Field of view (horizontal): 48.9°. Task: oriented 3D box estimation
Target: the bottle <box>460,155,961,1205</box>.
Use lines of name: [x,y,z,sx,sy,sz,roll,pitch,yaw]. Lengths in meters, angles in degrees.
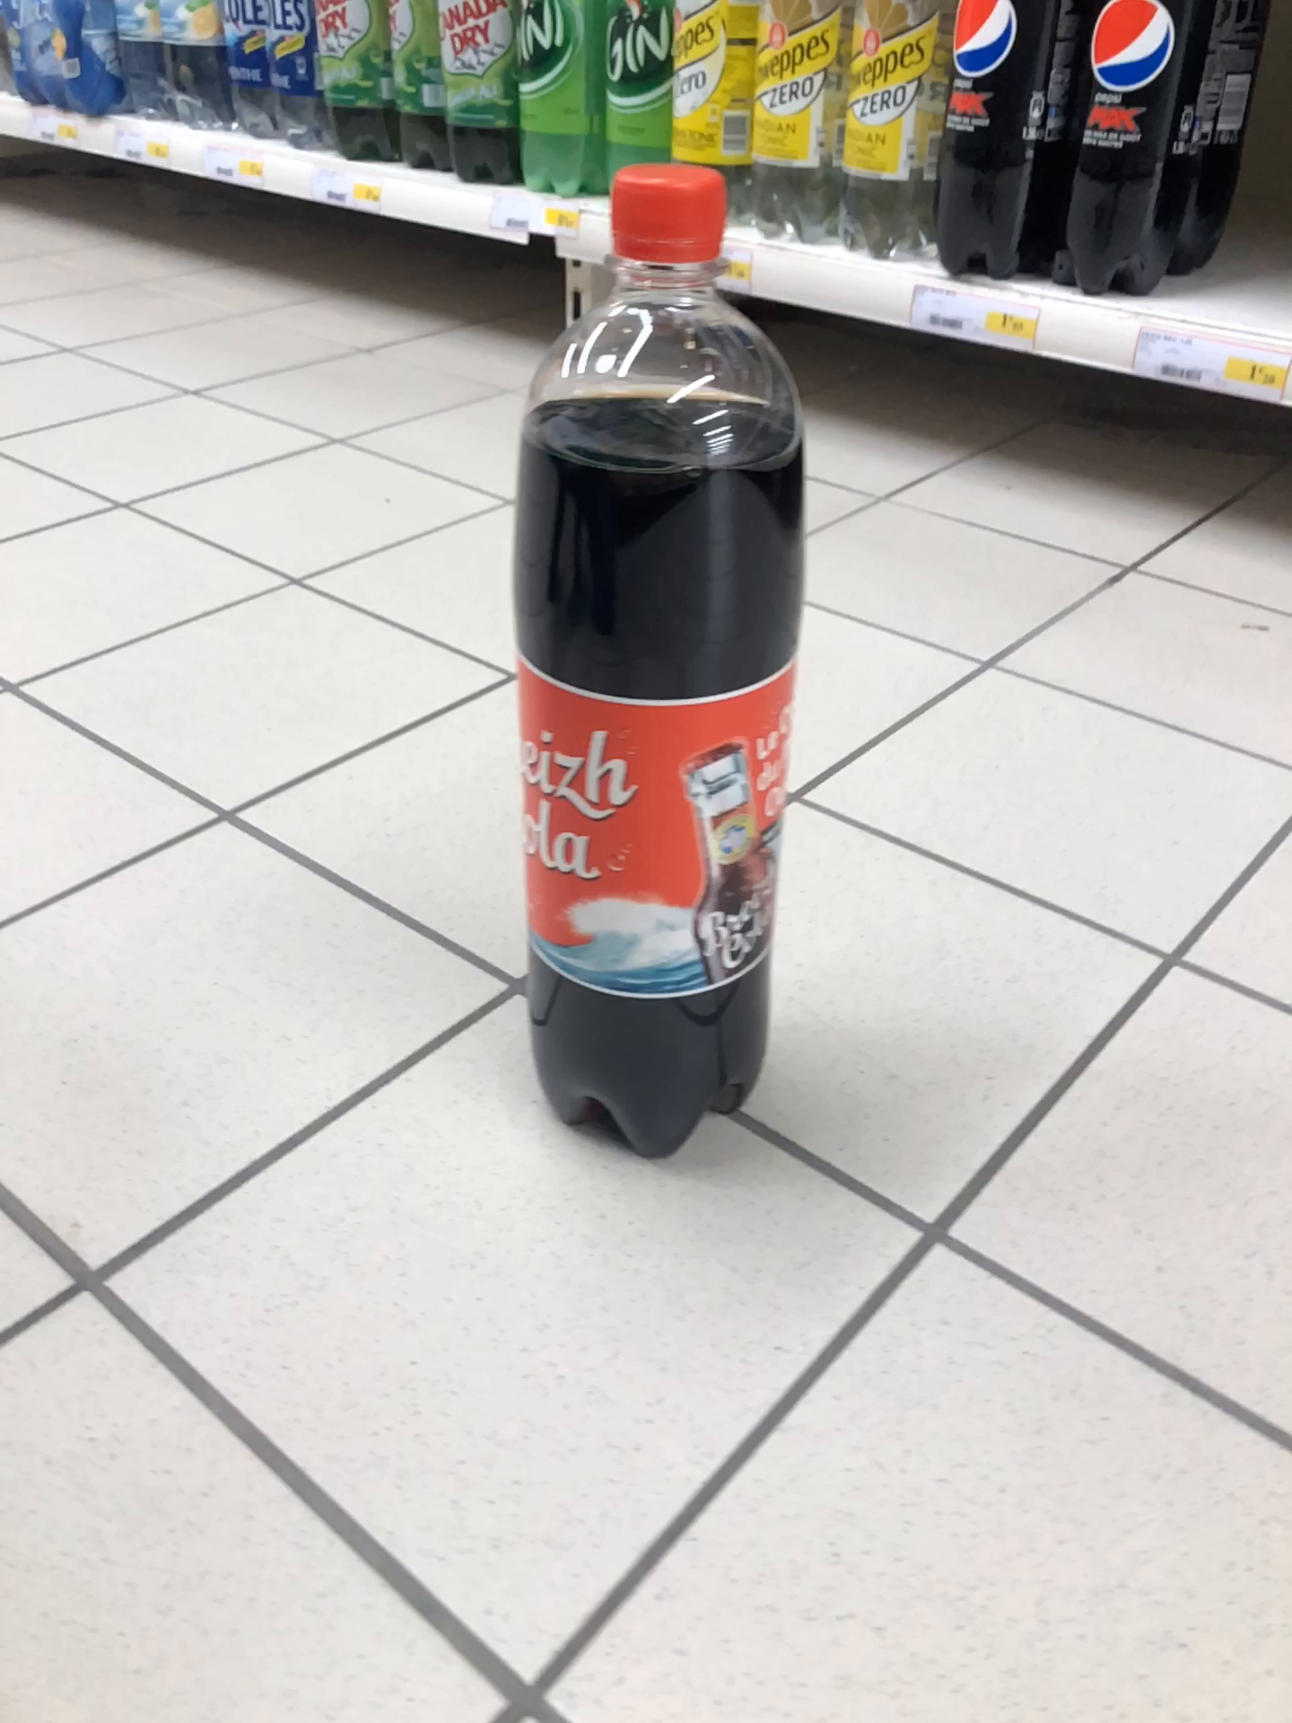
bottle: [0.009,-0.047,0.455,0.100,0.308,0.100,1,33,-1]
